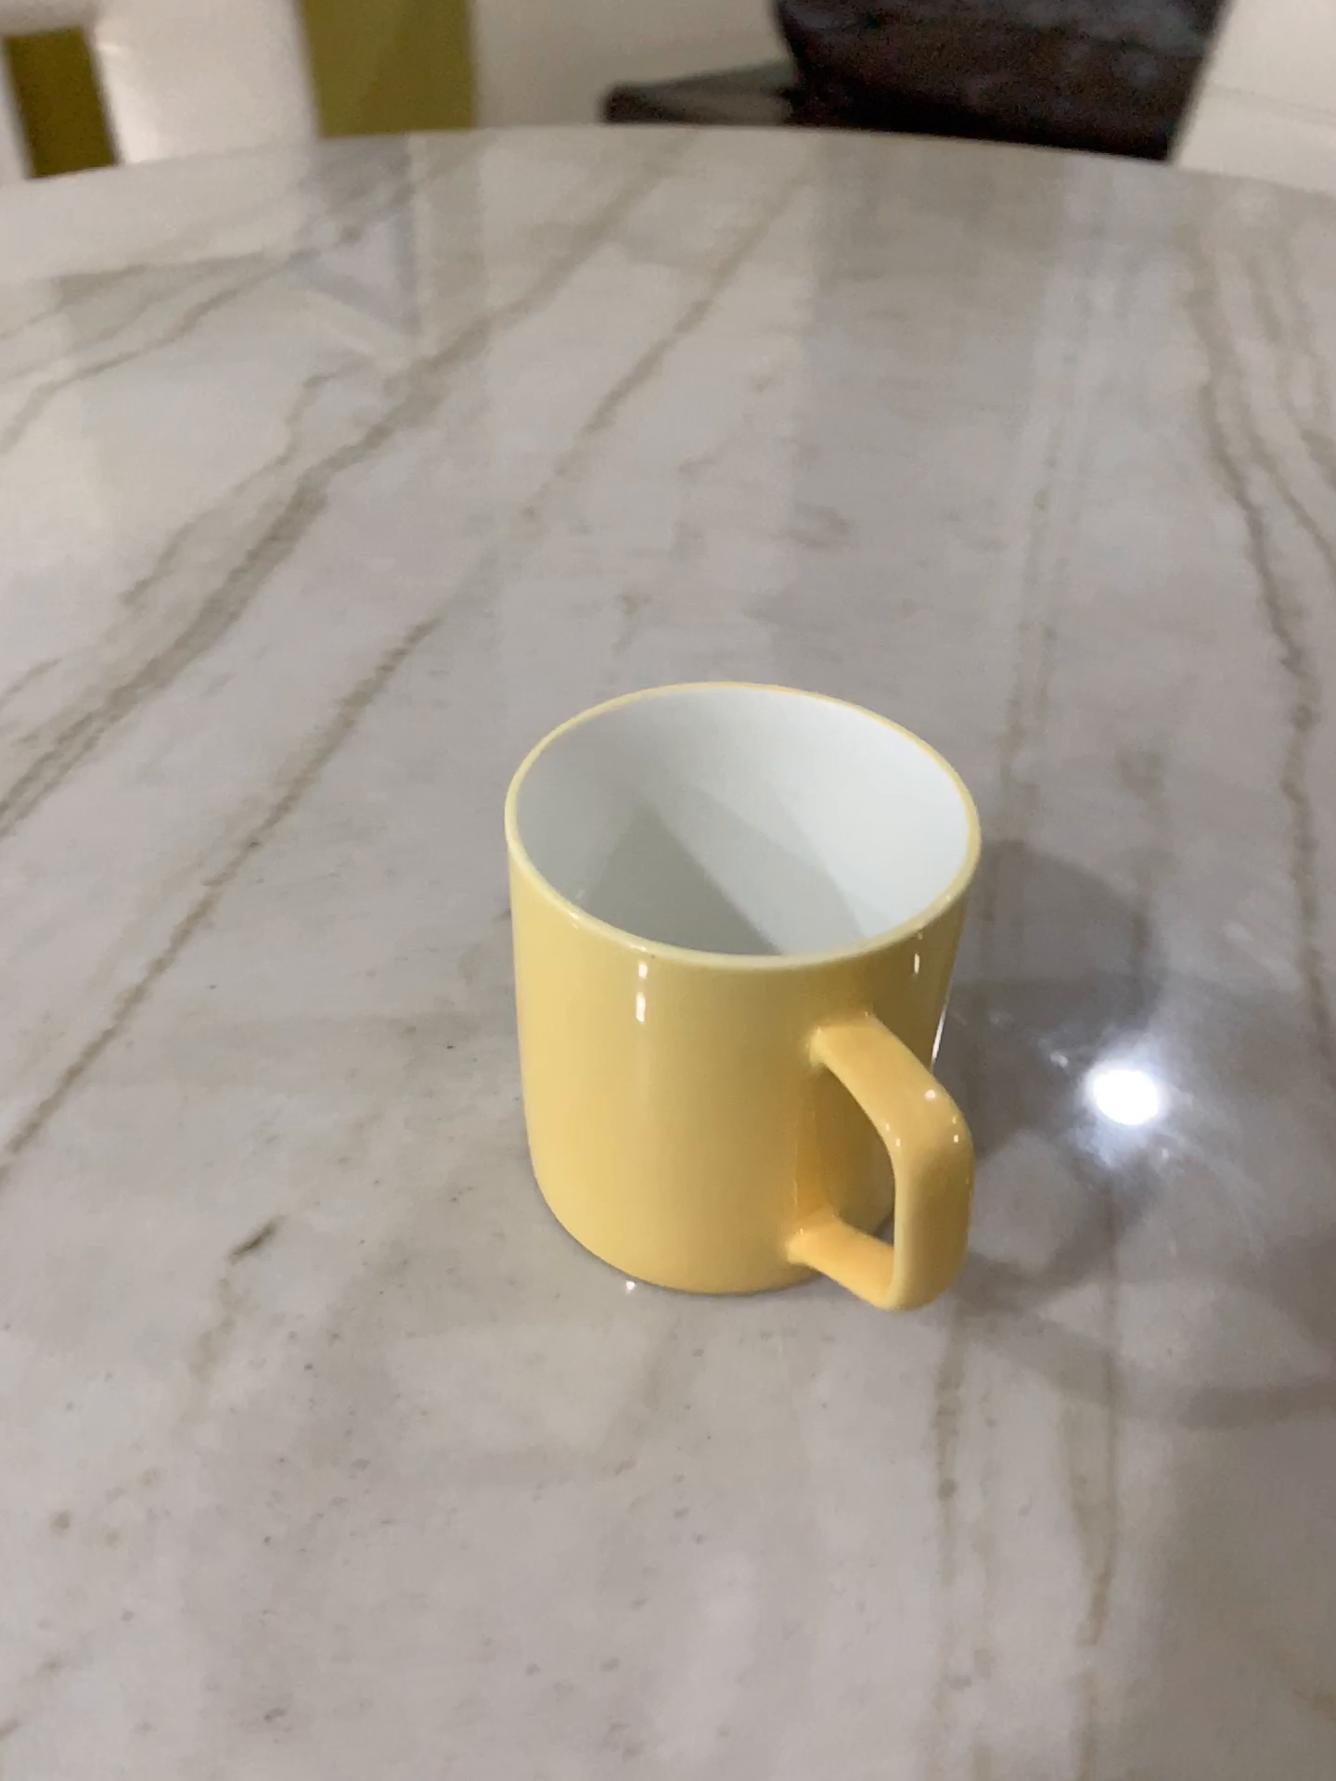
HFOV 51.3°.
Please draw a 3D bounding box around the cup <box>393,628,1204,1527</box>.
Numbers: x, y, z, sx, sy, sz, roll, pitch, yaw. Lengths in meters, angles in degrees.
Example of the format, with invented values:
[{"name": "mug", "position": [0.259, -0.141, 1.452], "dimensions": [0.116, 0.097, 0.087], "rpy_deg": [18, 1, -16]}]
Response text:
[{"name": "cup", "position": [0.012, 0.022, 0.230], "dimensions": [0.075, 0.074, 0.110], "rpy_deg": [-17, 43, -21]}]
